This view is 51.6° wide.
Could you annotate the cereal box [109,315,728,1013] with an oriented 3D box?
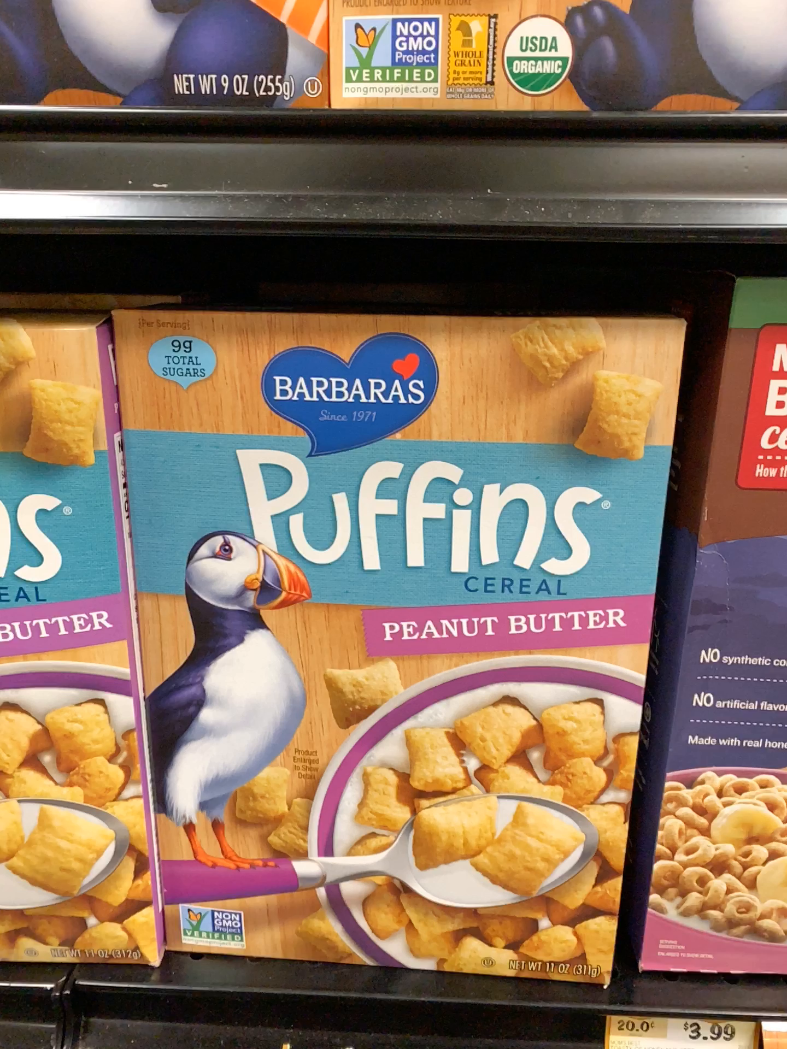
[{"bbox_3d":[0.006,0.052,0.327,0.200,0.259,0.070,2,14,4],"label":"cereal box"}]
